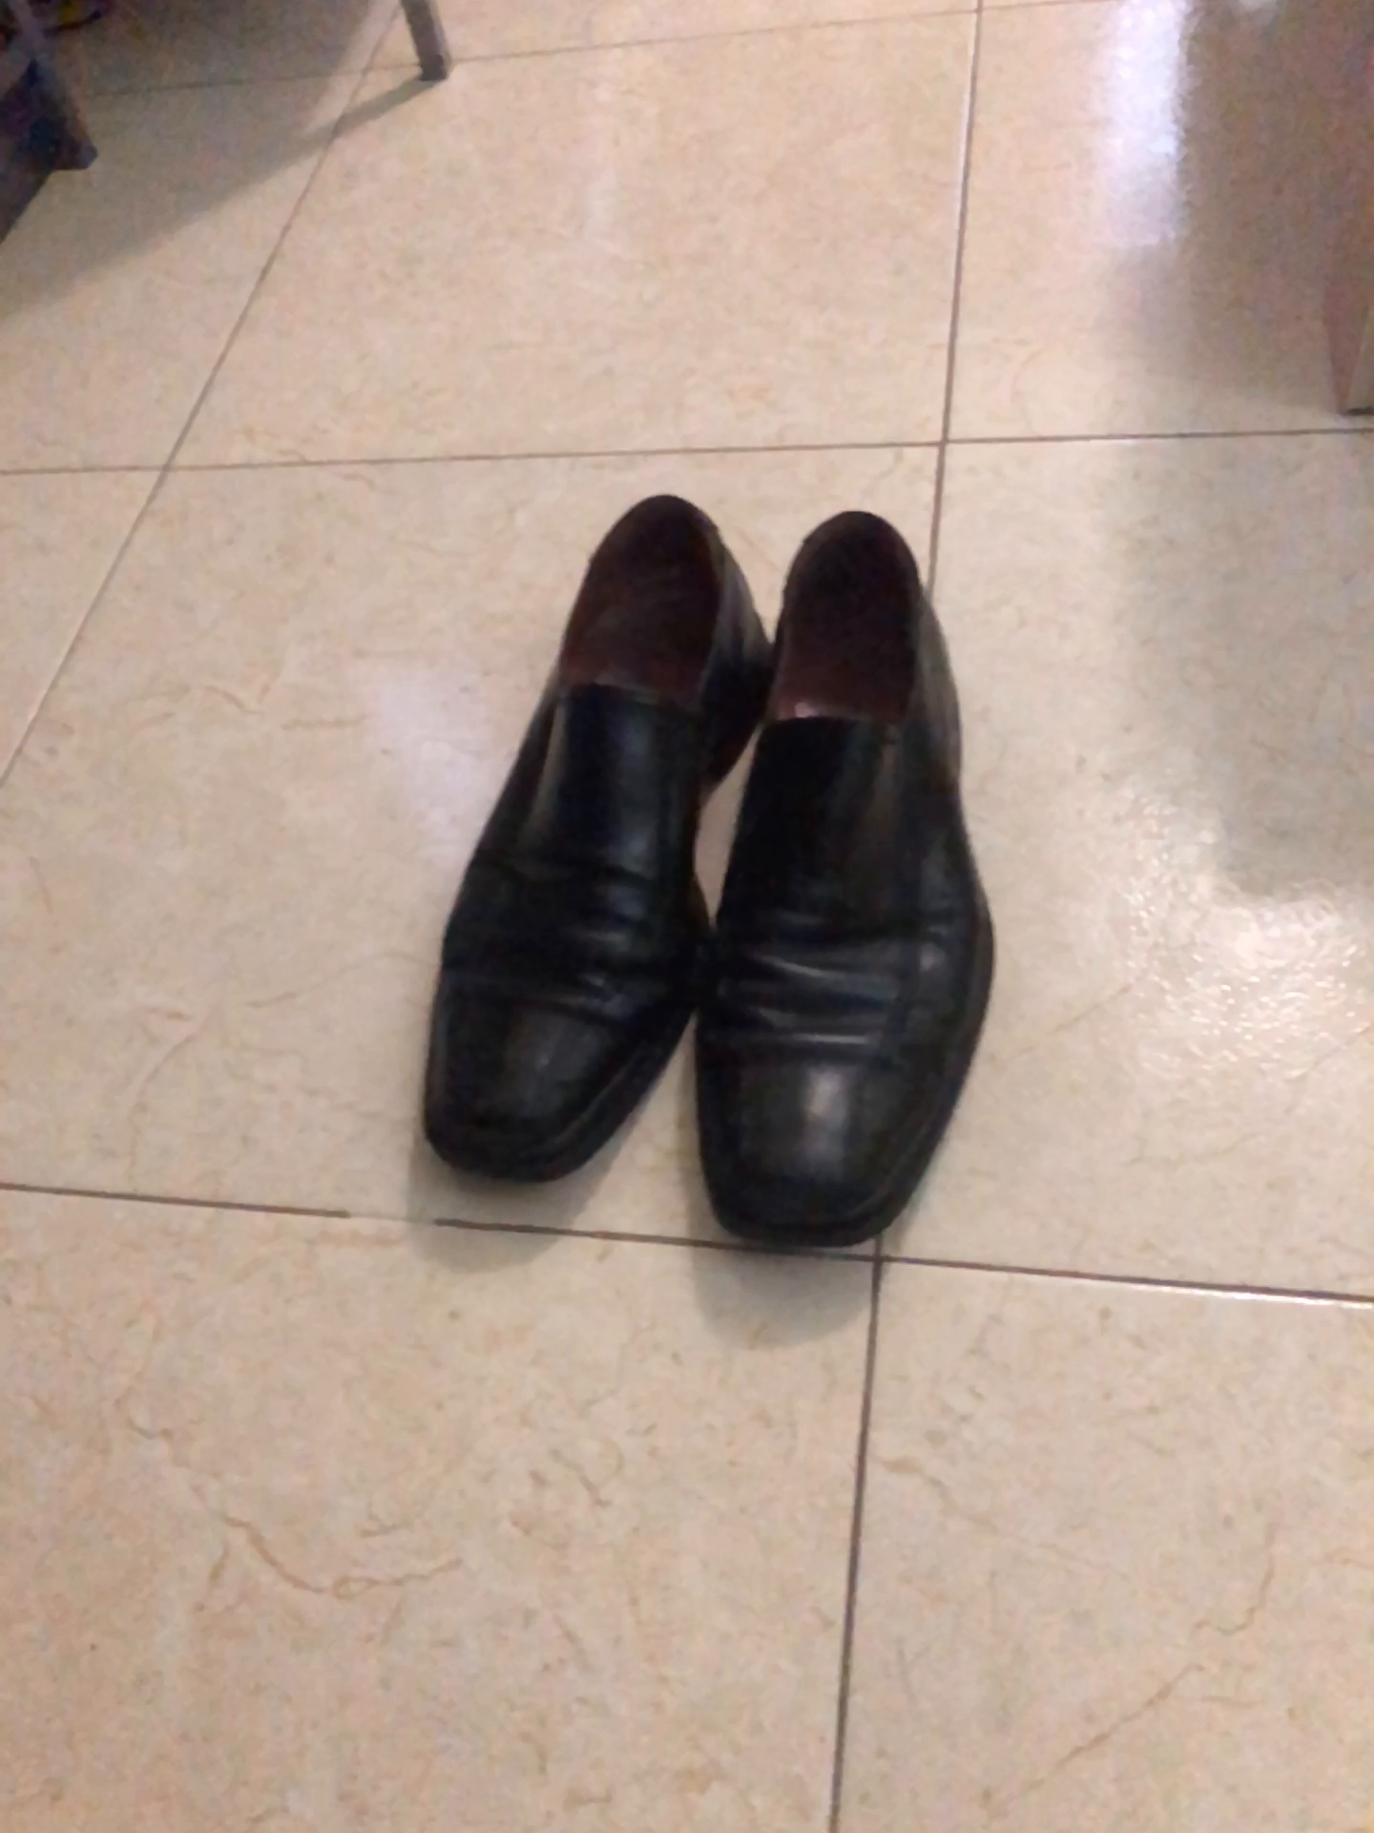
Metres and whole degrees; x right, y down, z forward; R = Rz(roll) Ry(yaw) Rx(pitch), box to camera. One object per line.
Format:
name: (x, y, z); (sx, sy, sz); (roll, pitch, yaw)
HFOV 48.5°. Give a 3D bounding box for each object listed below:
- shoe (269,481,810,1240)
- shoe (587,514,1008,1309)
shoe: (-0.042, -0.039, 0.626); (0.120, 0.090, 0.311); (6, 56, 15)
shoe: (0.058, -0.018, 0.598); (0.120, 0.090, 0.311); (2, 55, 13)
